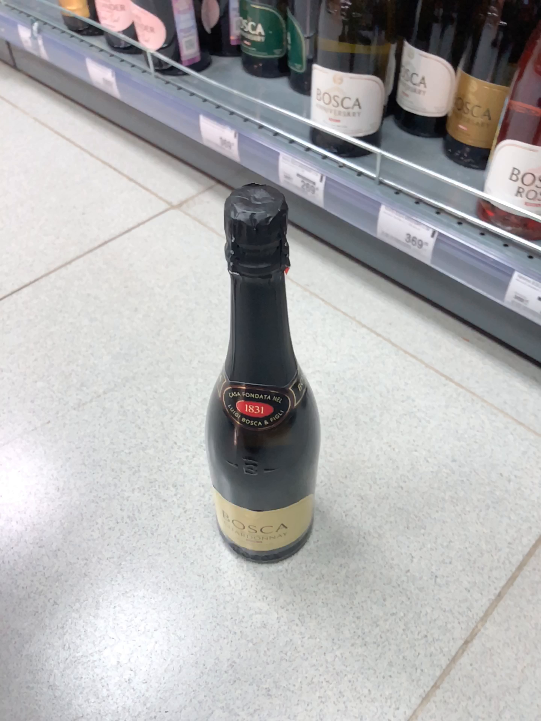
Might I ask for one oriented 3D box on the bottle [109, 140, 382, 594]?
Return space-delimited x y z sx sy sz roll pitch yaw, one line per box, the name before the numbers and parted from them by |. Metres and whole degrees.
bottle | -0.006 0.032 0.389 0.100 0.311 0.090 14 49 13
